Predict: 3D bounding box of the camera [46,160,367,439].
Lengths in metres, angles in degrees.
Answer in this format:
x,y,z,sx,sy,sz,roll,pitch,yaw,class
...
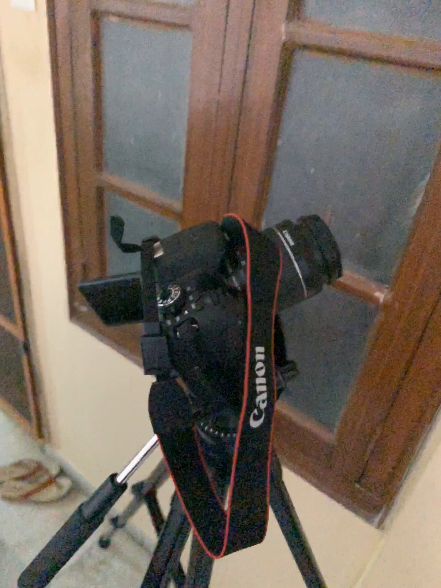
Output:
x,y,z,sx,sy,sz,roll,pitch,yaw,class
-0.018,-0.005,0.396,0.225,0.100,0.142,-23,37,-4,camera
